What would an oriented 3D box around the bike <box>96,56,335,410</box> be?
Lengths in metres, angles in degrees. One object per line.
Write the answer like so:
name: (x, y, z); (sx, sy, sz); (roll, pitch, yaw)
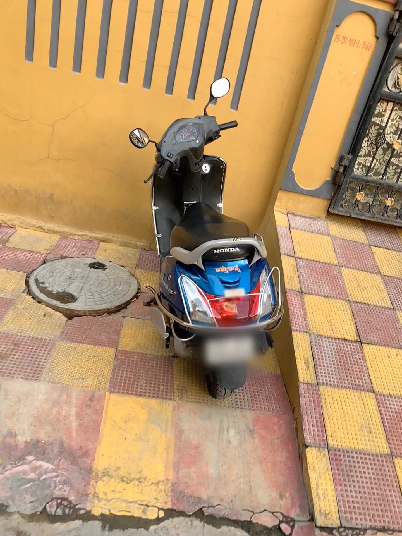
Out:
bike: (-0.146, -0.322, 2.140); (0.596, 1.098, 1.533); (5, 29, -19)
